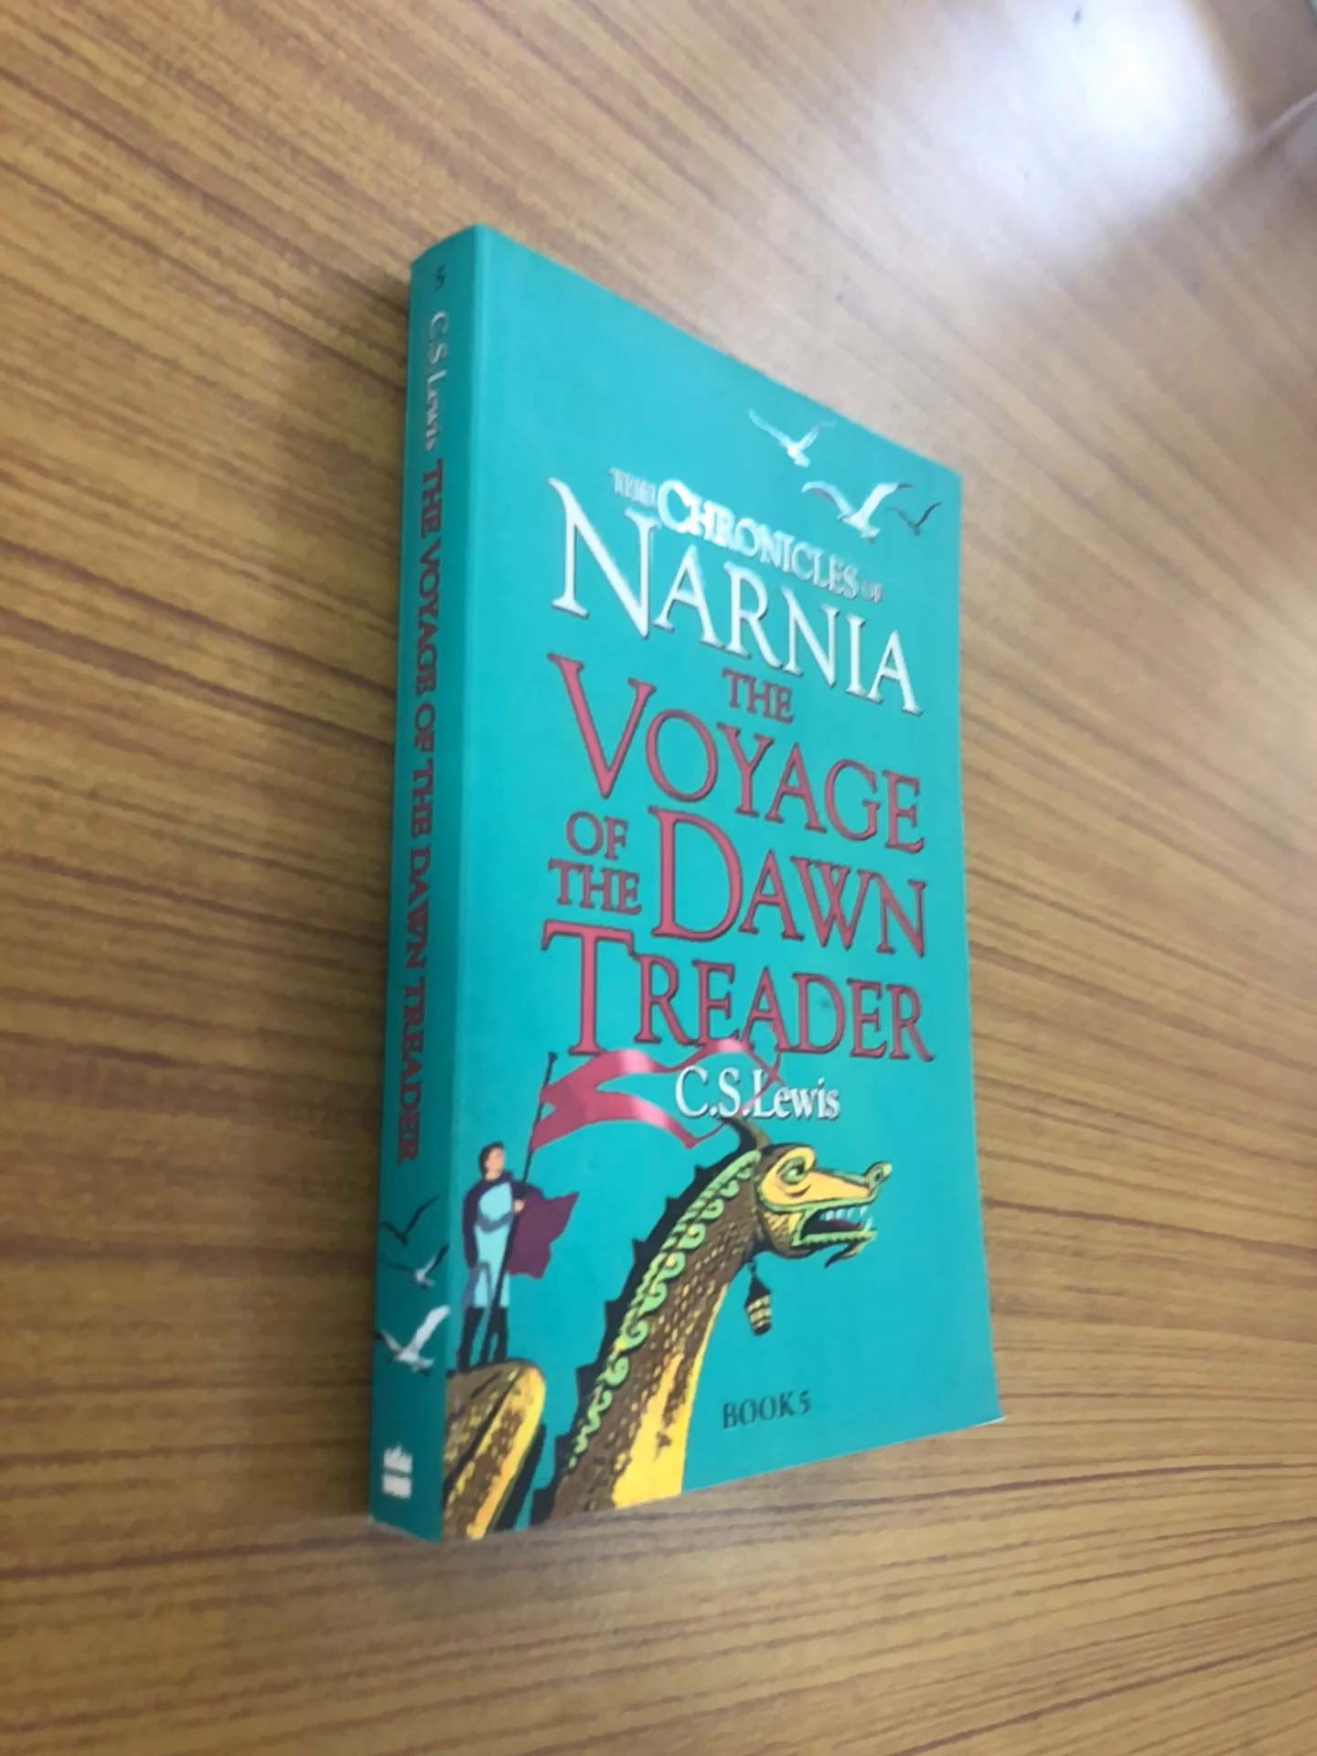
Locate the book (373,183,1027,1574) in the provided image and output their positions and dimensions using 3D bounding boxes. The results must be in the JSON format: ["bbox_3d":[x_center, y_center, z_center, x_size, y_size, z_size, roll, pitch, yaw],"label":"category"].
[{"bbox_3d":[0.015,0.002,0.264,0.131,0.030,0.200,10,77,-45],"label":"book"}]
